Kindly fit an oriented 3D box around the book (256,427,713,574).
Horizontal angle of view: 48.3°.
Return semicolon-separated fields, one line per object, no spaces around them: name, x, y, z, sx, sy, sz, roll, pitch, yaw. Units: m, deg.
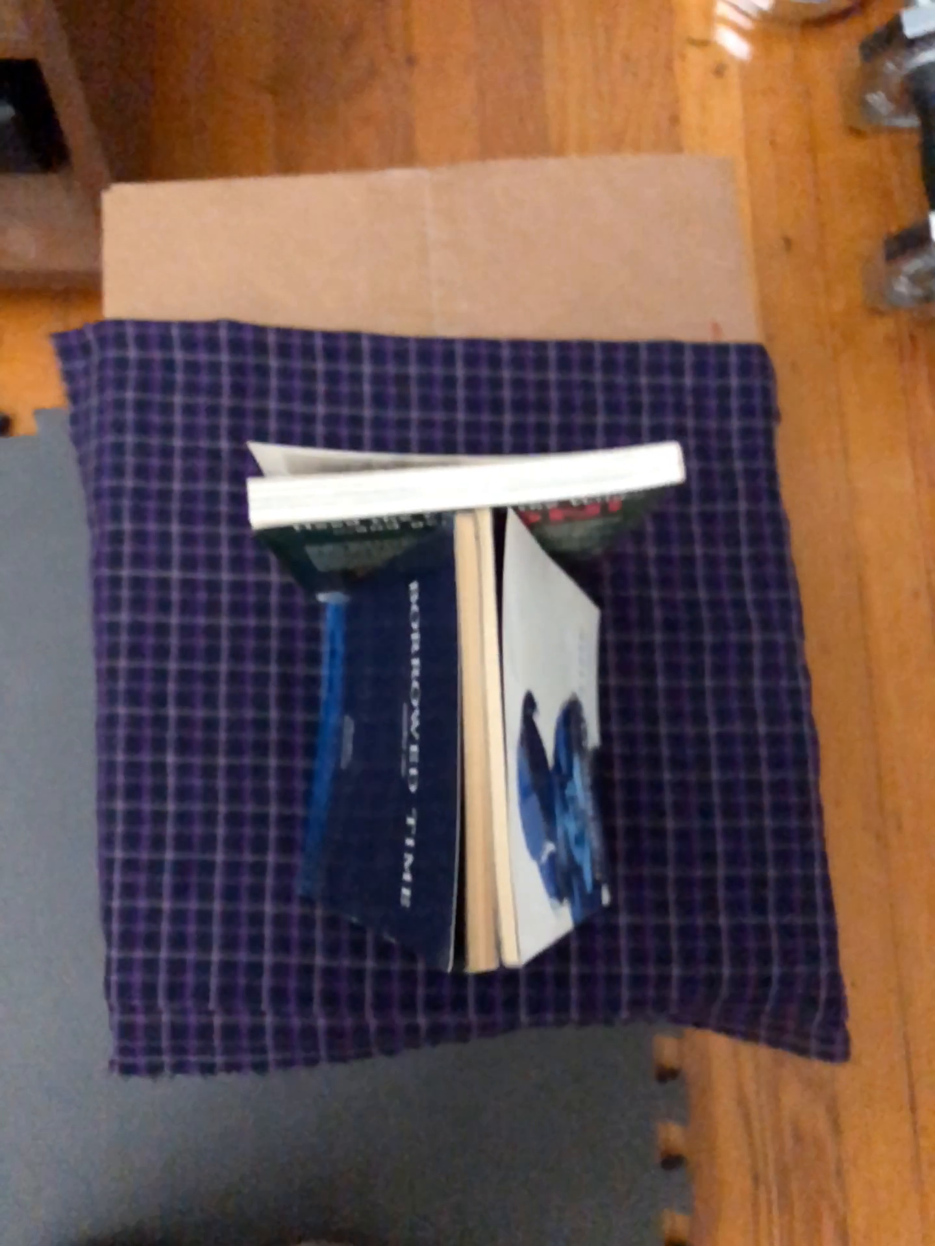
book;0.001;-0.042;0.415;0.140;0.190;0.020;-3;87;-3

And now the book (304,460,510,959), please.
book;-0.031;0.036;0.407;0.010;0.200;0.150;4;81;-23

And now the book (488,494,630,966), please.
book;0.041;0.046;0.406;0.010;0.200;0.140;-5;79;15
